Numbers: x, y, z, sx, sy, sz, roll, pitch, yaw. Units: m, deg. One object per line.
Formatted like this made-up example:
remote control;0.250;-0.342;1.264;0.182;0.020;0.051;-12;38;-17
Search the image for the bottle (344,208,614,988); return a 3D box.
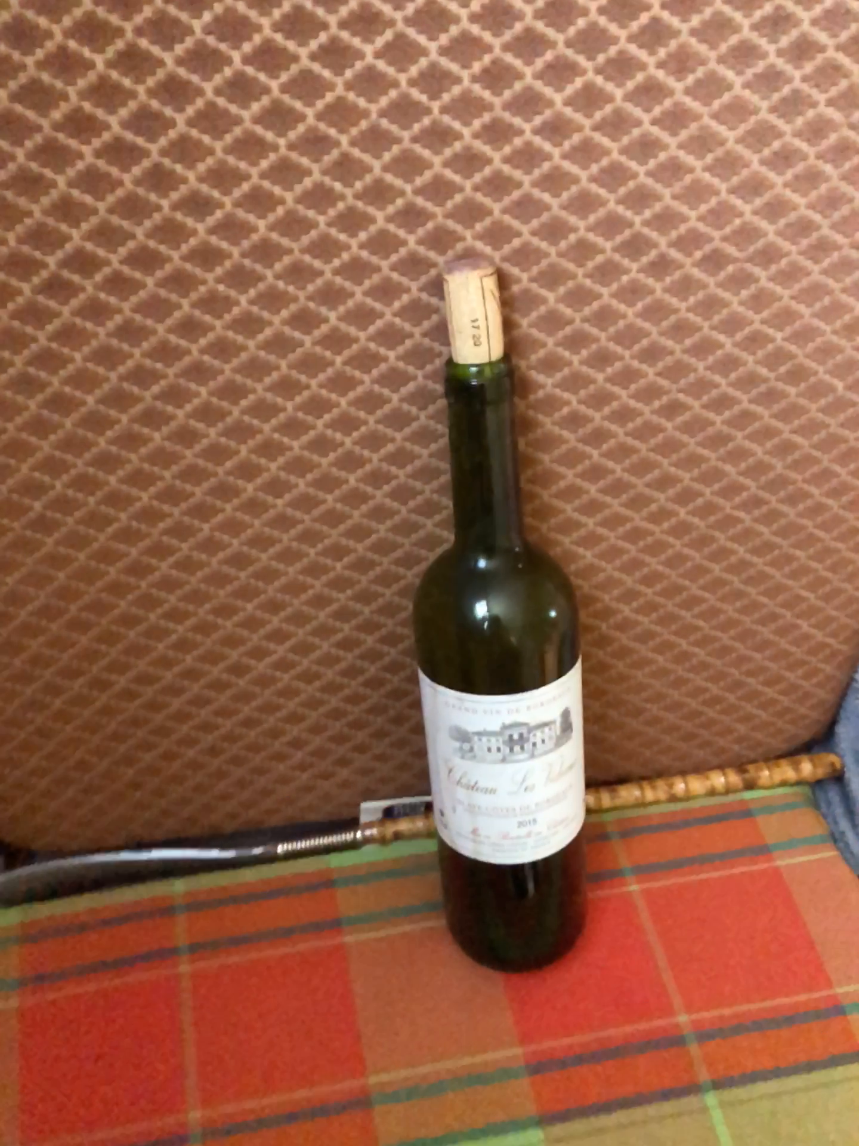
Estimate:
bottle;0.030;0.028;0.415;0.080;0.339;0.070;-6;25;2
